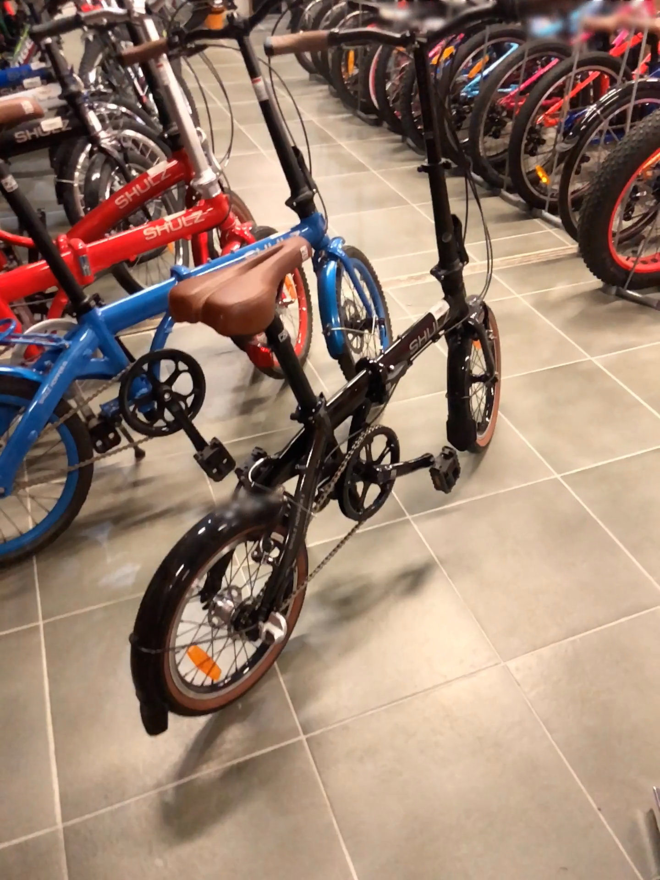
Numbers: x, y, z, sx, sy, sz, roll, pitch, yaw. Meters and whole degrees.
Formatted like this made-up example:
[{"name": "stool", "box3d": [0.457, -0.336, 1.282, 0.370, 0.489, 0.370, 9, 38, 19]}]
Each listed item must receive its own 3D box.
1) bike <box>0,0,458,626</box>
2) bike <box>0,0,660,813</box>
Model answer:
[{"name": "bike", "box3d": [-0.413, -0.433, 1.668, 0.568, 1.029, 1.377, 33, 47, 32]}, {"name": "bike", "box3d": [0.052, -0.222, 1.375, 0.565, 1.057, 1.278, 24, 45, 25]}]
